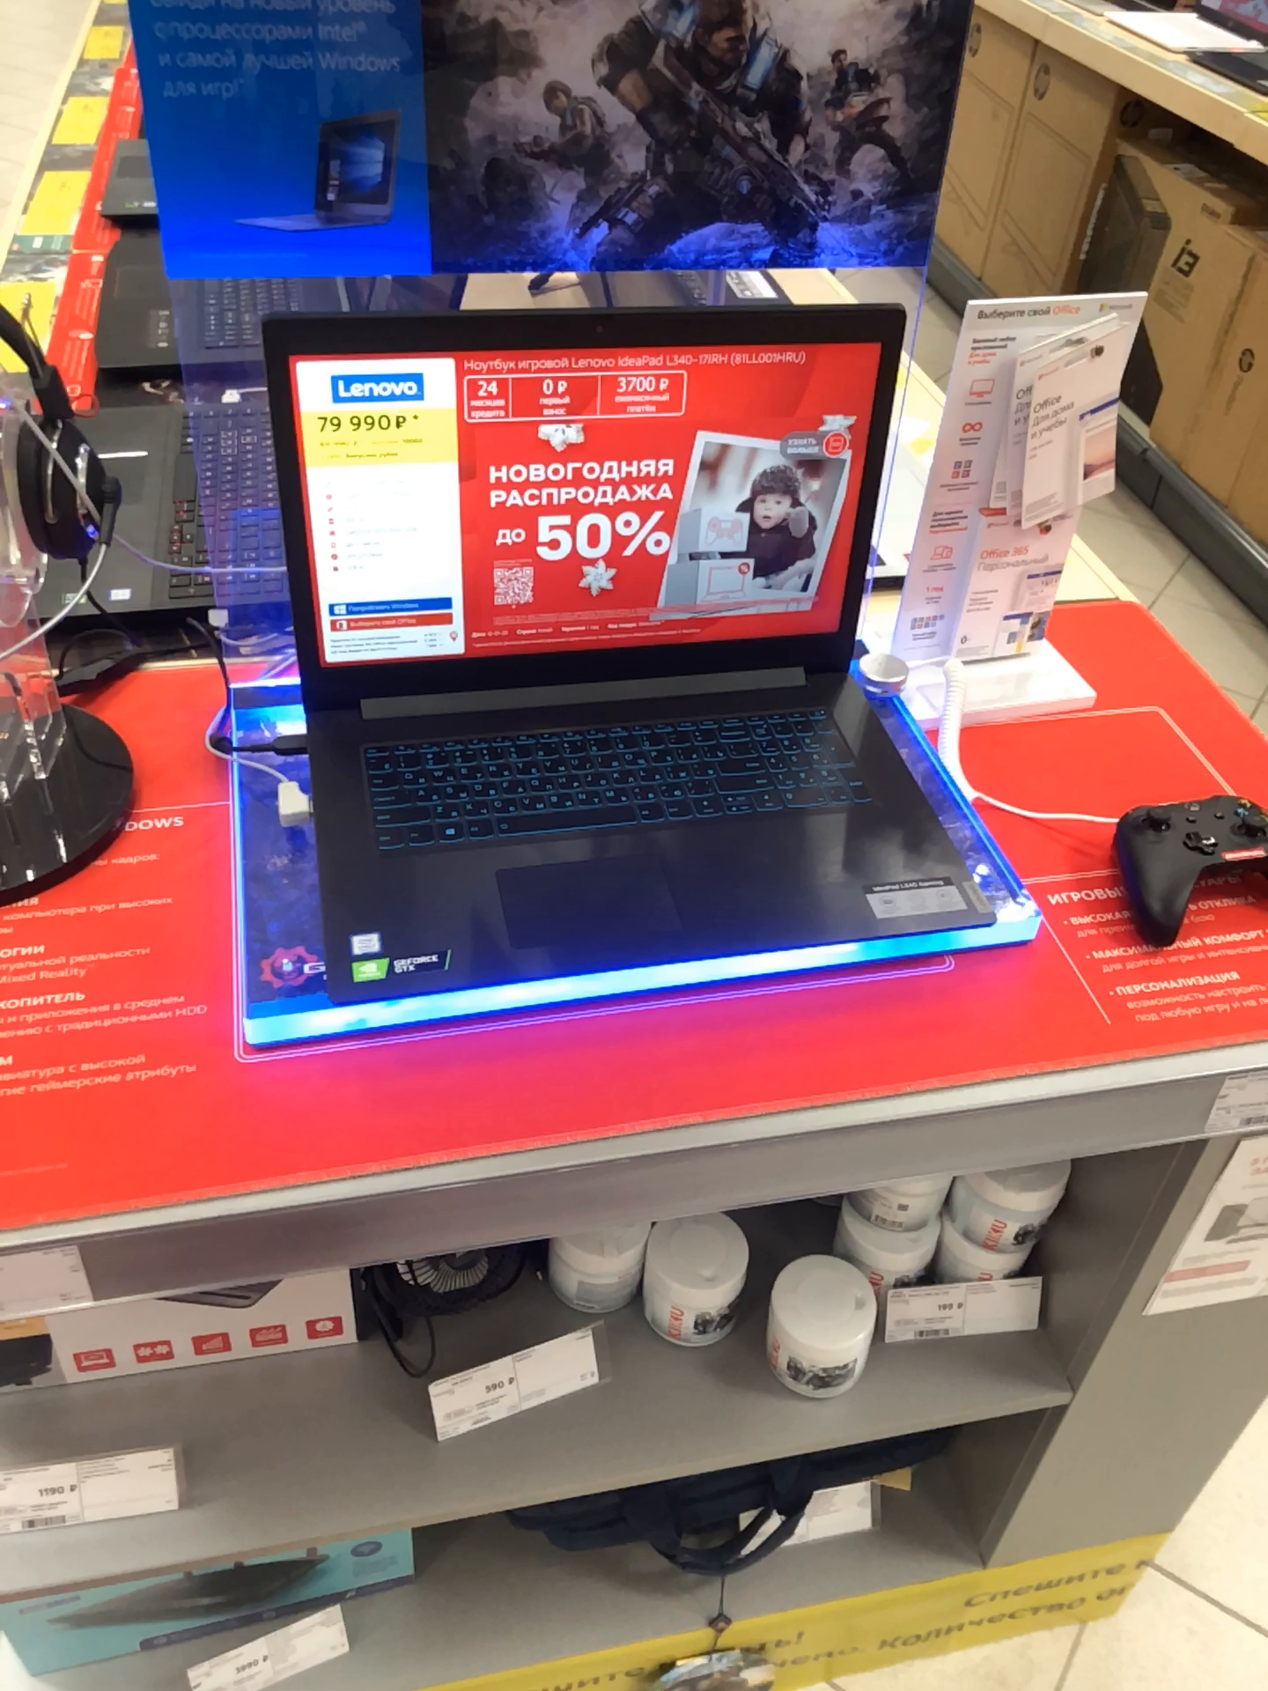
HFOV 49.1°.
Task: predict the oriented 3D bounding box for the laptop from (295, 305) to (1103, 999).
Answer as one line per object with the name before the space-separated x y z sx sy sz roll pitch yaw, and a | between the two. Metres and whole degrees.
laptop | 0.007 -0.136 0.855 0.404 0.255 0.296 -5 42 -11
